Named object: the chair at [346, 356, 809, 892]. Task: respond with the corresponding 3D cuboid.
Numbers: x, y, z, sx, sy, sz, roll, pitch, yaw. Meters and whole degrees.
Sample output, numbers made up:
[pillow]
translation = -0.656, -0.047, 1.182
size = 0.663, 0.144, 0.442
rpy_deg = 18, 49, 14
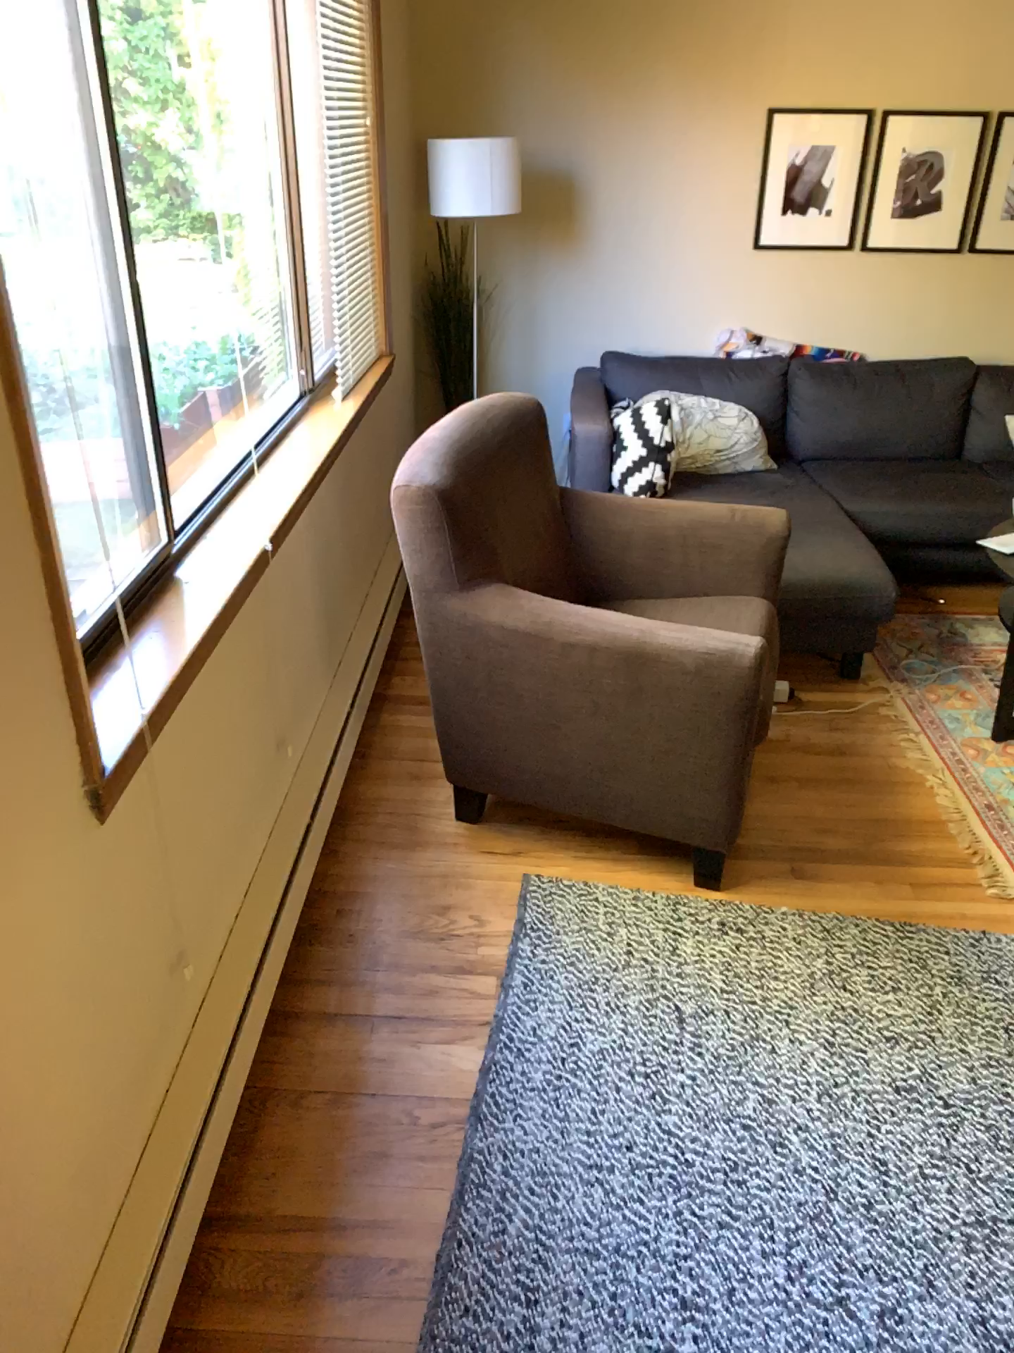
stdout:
[chair]
translation = 0.226, -0.192, 2.371
size = 0.801, 0.875, 0.885
rpy_deg = 5, 28, 15
